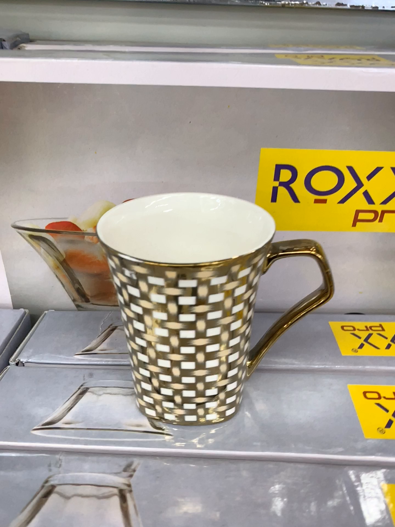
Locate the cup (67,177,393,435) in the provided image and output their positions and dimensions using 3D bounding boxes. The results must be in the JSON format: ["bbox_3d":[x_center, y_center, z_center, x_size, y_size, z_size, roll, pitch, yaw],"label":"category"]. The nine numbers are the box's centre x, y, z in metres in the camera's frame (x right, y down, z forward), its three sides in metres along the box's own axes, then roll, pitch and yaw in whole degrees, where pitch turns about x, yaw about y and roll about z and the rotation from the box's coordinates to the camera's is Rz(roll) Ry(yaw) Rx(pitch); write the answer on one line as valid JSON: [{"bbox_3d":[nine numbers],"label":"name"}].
[{"bbox_3d":[0.009,0.017,0.195,0.110,0.089,0.081,1,30,-2],"label":"cup"}]
